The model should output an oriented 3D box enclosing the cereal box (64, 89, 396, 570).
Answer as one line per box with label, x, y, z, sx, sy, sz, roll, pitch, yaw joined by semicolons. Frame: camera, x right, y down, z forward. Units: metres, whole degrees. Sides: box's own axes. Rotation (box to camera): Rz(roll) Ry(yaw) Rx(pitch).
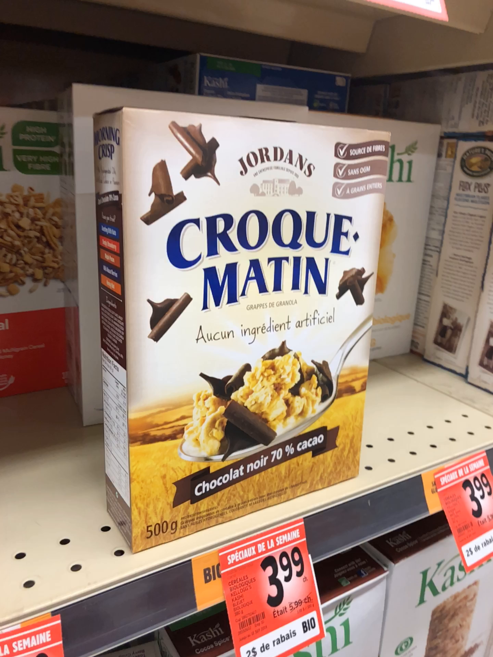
cereal box;-0.004;-0.003;0.343;0.190;0.249;0.050;-8;17;-32
